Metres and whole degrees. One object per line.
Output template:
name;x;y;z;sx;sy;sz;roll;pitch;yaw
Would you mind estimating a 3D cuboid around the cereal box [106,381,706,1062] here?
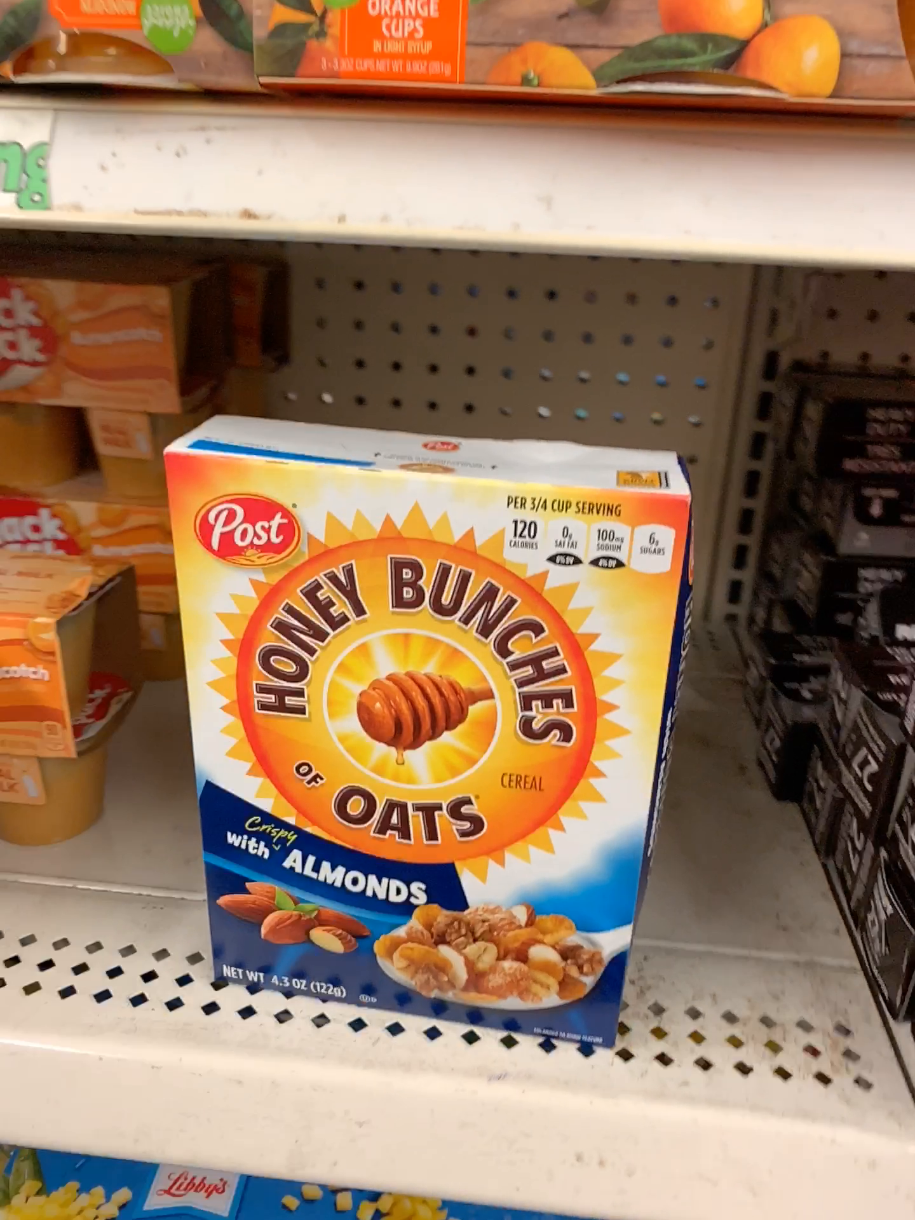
cereal box;-0.014;0.035;0.291;0.150;0.189;0.050;6;24;10
